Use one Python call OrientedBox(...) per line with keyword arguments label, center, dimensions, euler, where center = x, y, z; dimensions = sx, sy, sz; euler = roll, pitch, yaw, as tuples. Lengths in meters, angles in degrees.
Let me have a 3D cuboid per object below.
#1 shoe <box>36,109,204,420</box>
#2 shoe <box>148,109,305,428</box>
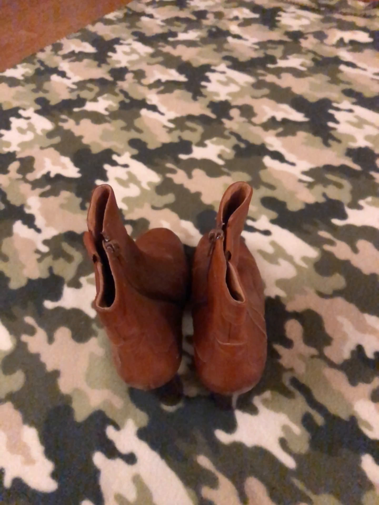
OrientedBox(label="shoe", center=(-0.043, 0.013, 0.398), dimensions=(0.090, 0.189, 0.221), euler=(-5, 50, 3))
OrientedBox(label="shoe", center=(0.033, 0.017, 0.384), dimensions=(0.090, 0.189, 0.221), euler=(-2, 50, 5))
